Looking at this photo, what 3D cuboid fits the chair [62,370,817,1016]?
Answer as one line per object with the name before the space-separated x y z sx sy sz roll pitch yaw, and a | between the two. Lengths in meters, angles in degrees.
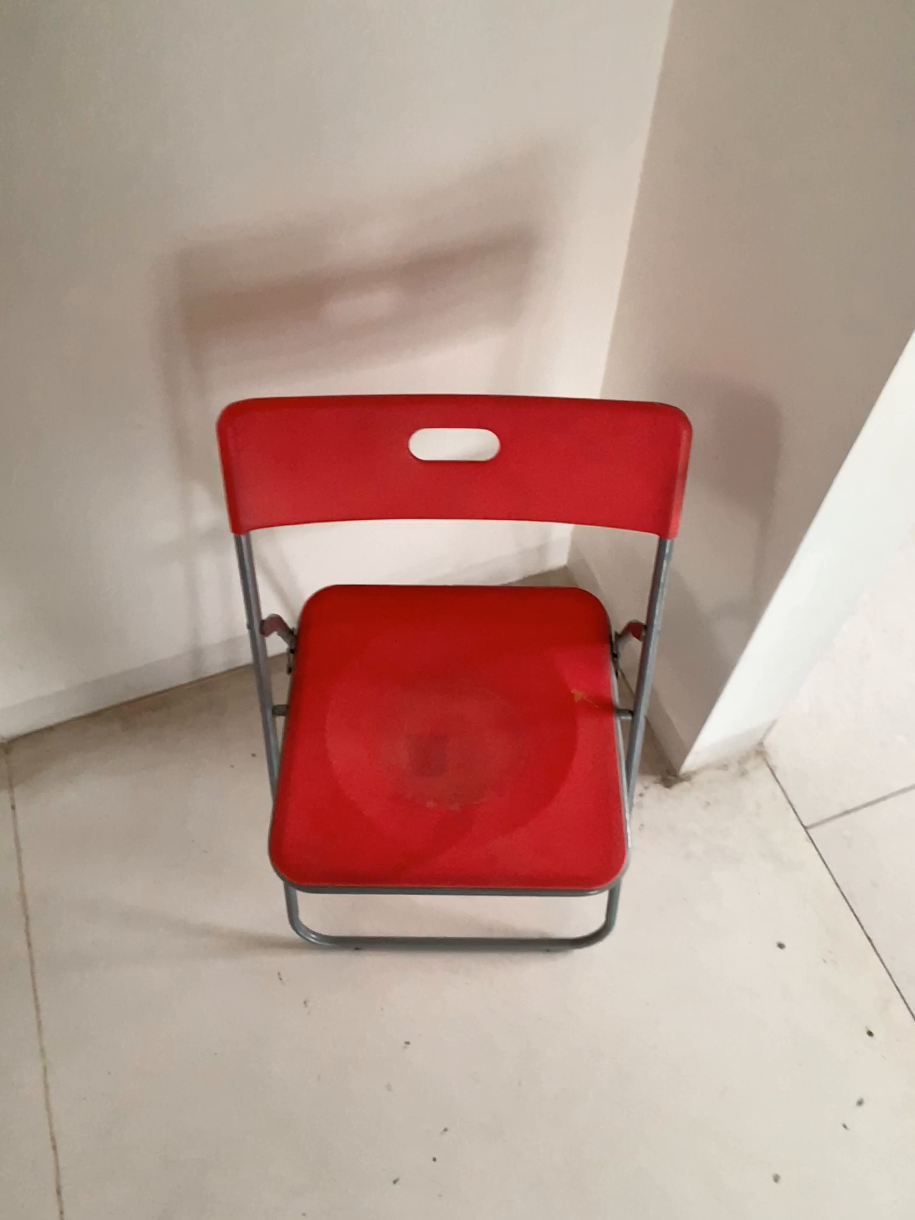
chair | -0.014 0.137 1.045 0.530 0.609 0.501 0 58 0
